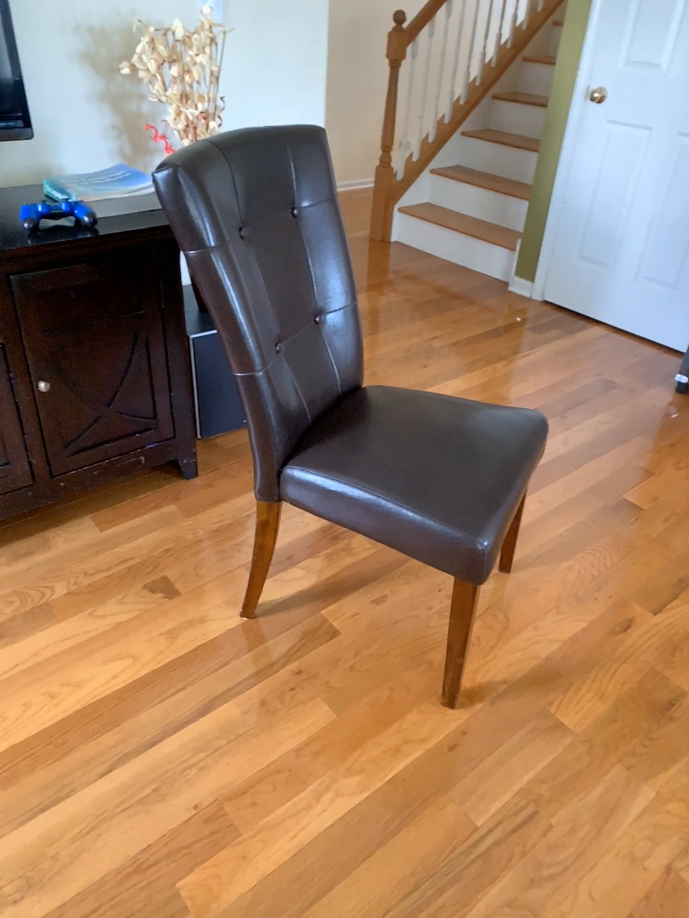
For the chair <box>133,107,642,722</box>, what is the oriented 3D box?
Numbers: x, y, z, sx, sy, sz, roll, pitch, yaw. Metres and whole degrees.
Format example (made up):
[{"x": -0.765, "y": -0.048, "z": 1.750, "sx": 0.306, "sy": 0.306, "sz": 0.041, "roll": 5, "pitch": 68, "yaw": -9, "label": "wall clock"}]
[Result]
[{"x": 0.074, "y": -0.110, "z": 1.412, "sx": 0.702, "sy": 0.968, "sz": 0.501, "roll": 16, "pitch": 35, "yaw": 19, "label": "chair"}]
